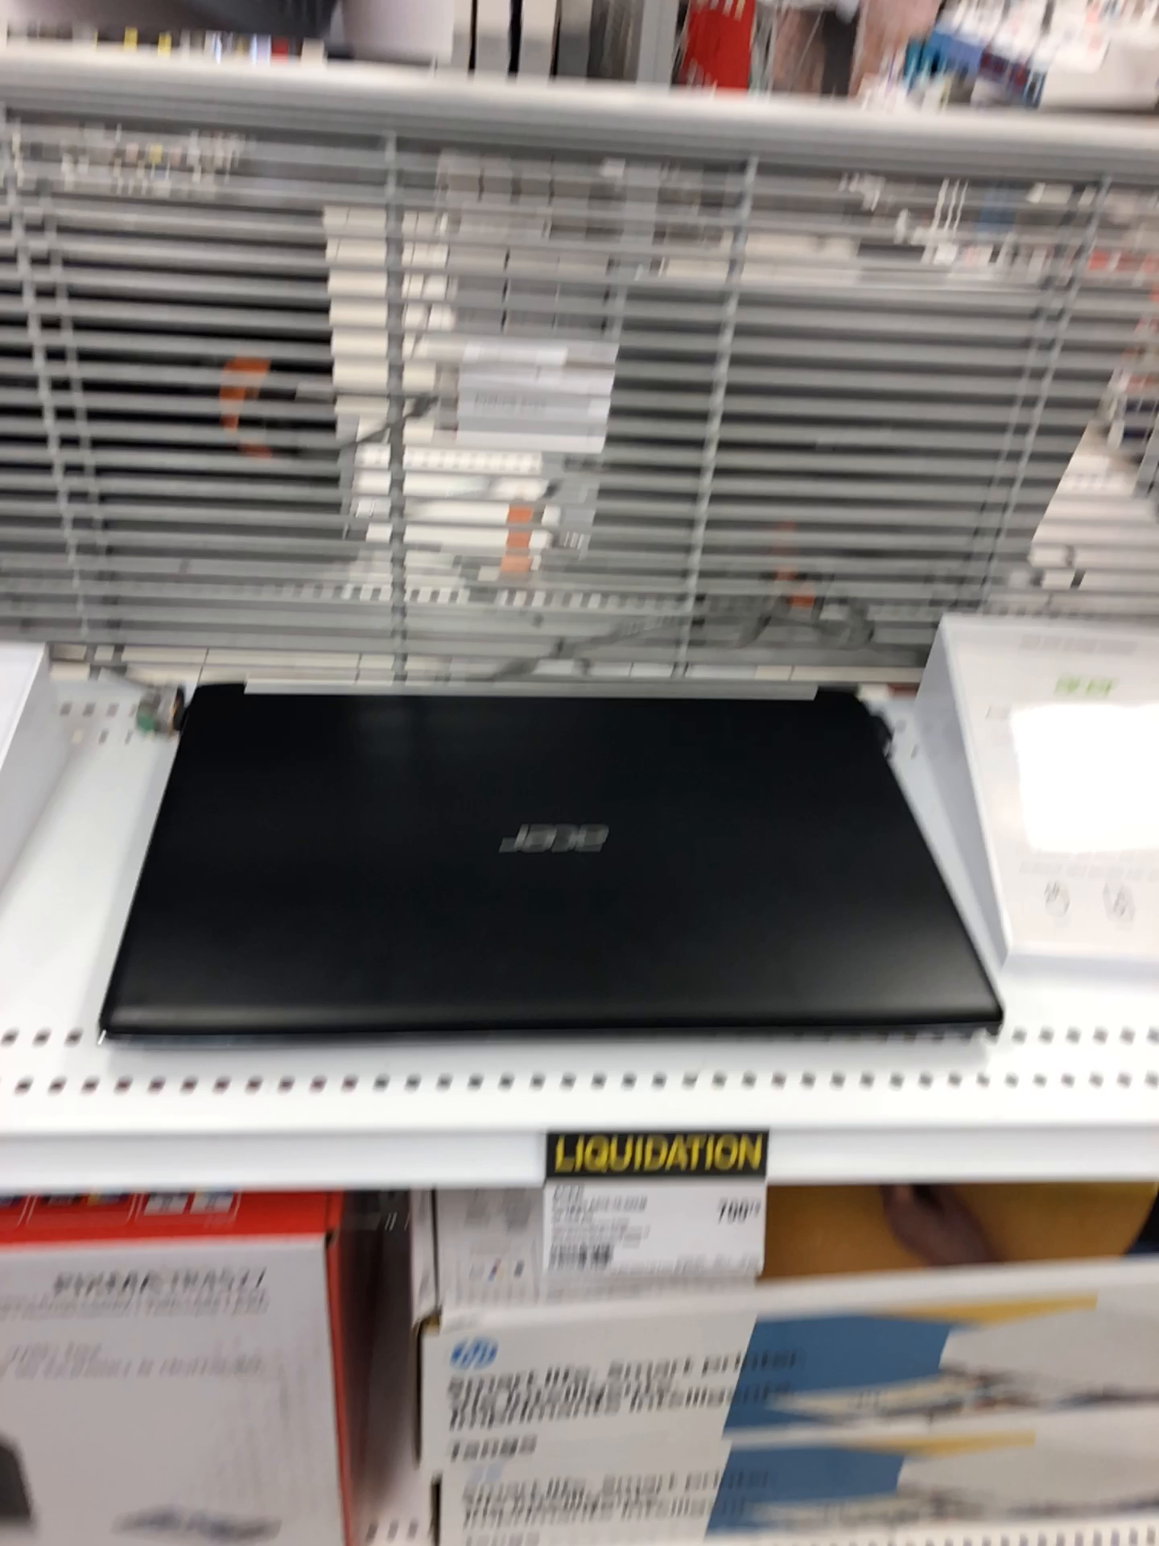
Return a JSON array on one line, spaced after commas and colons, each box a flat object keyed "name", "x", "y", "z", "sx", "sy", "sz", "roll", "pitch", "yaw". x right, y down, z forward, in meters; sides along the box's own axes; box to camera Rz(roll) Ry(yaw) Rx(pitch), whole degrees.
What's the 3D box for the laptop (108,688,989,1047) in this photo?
[{"name": "laptop", "x": -0.013, "y": 0.033, "z": 0.610, "sx": 0.361, "sy": 0.012, "sz": 0.228, "roll": 1, "pitch": 39, "yaw": -7}]
